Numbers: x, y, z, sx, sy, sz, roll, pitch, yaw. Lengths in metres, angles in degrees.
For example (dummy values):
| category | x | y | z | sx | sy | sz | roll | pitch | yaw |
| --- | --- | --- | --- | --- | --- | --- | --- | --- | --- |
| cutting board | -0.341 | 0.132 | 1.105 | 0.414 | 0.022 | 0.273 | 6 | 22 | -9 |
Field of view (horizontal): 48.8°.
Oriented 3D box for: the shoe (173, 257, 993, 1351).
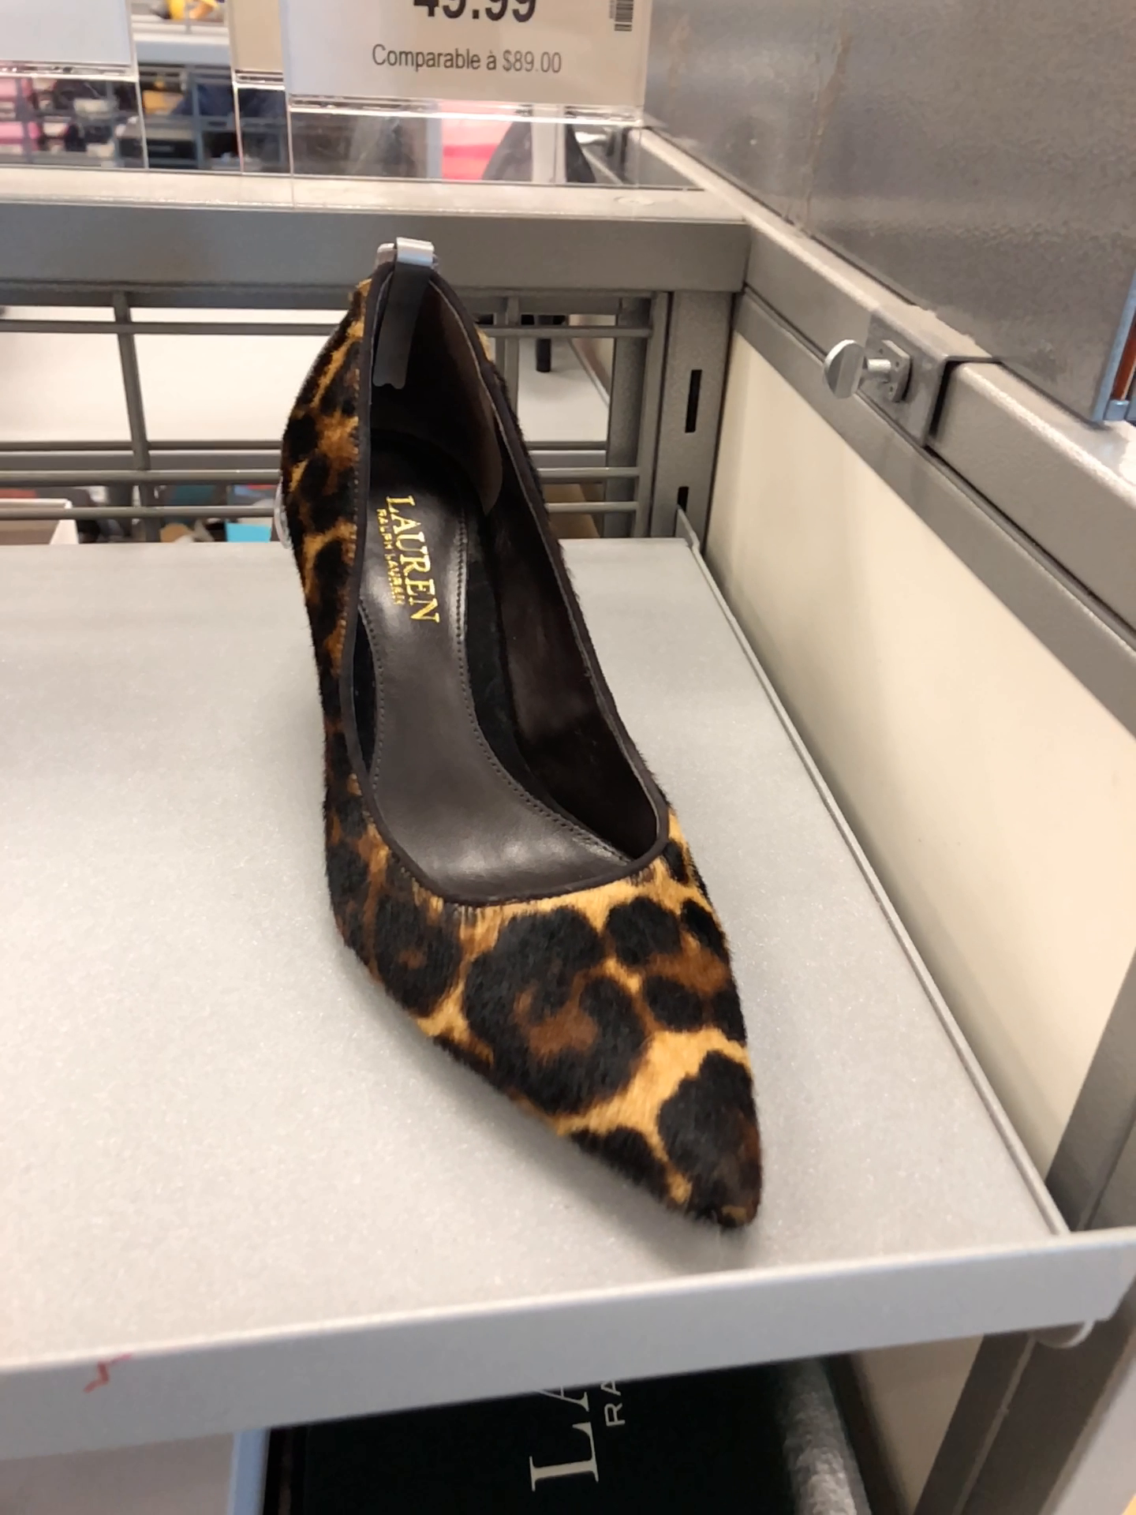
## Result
| category | x | y | z | sx | sy | sz | roll | pitch | yaw |
| --- | --- | --- | --- | --- | --- | --- | --- | --- | --- |
| shoe | -0.030 | -0.025 | 0.313 | 0.090 | 0.129 | 0.272 | -9 | 36 | -19 |
